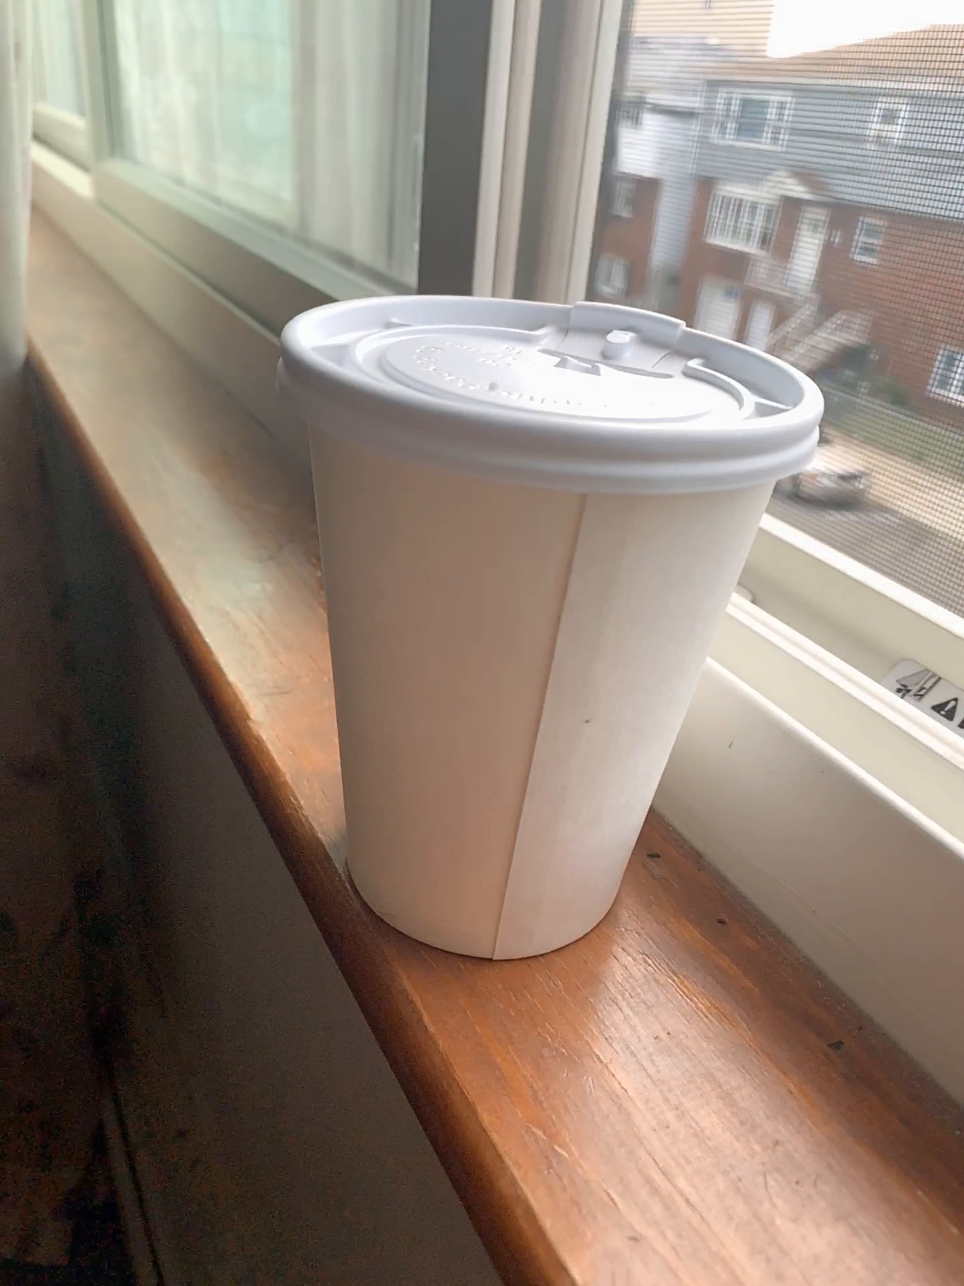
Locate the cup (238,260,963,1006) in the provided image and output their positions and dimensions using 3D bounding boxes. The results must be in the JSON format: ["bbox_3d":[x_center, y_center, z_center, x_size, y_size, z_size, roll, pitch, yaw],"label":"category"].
[{"bbox_3d":[0.007,-0.007,0.184,0.090,0.099,0.091,5,28,-2],"label":"cup"}]
